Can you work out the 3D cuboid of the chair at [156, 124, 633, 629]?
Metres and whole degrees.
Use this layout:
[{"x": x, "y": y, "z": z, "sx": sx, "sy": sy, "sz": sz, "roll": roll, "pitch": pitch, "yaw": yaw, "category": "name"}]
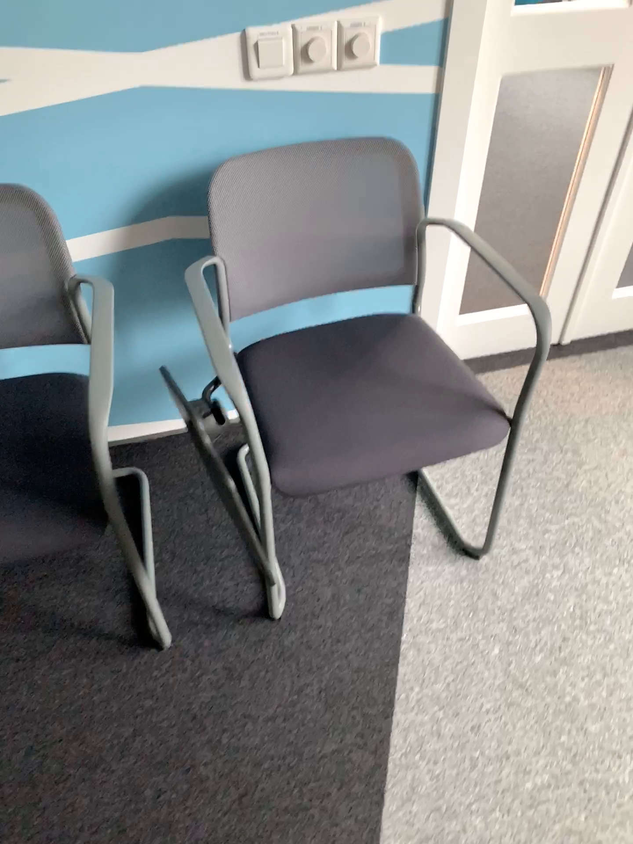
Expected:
[{"x": 0.070, "y": -0.110, "z": 1.268, "sx": 0.570, "sy": 0.627, "sz": 0.643, "roll": -13, "pitch": 46, "yaw": -12, "category": "chair"}]
